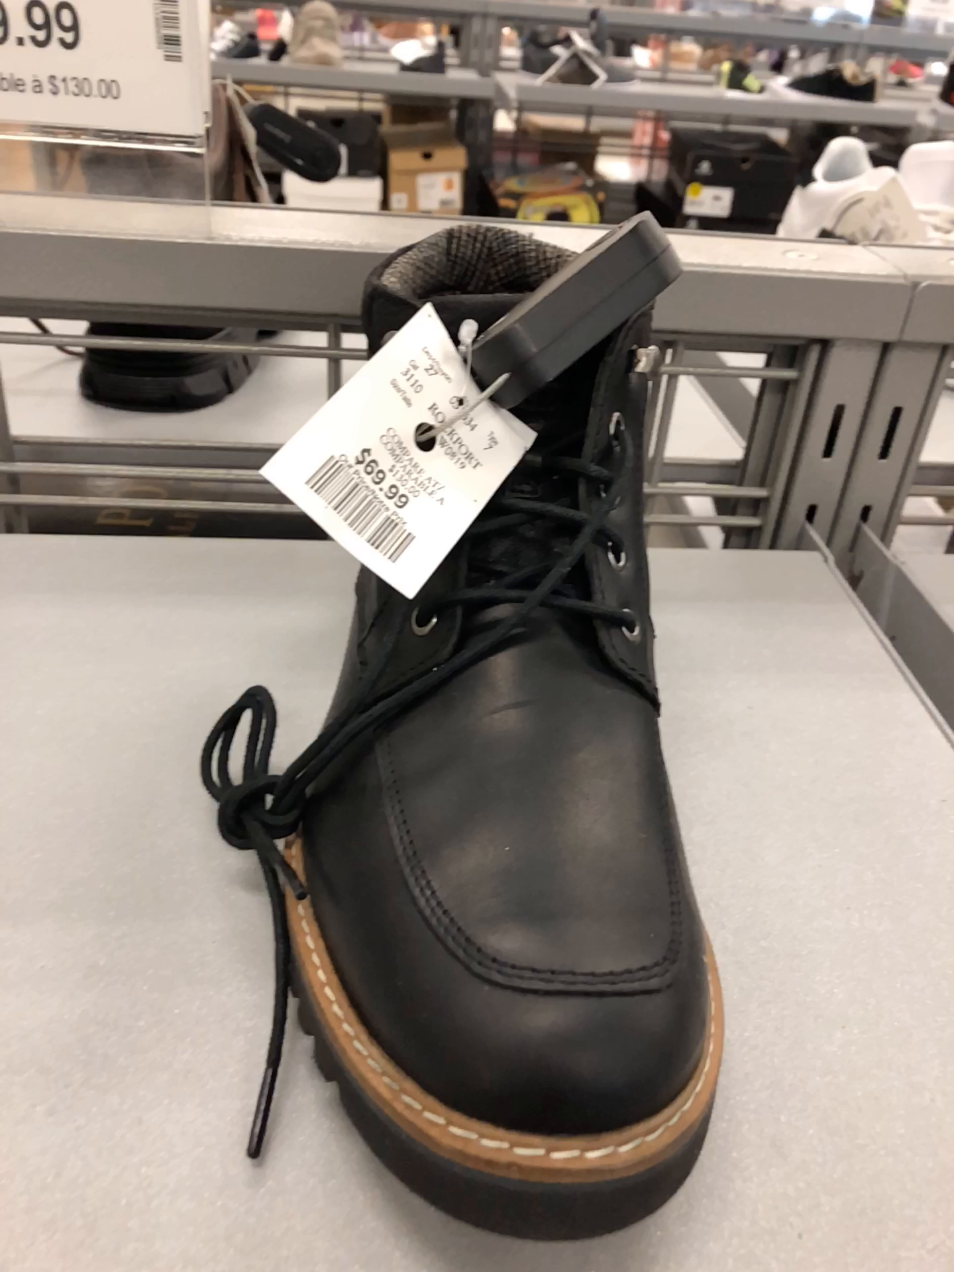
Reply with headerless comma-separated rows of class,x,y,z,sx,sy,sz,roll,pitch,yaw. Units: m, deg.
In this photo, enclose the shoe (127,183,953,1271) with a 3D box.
shoe,-0.006,-0.011,0.293,0.120,0.139,0.282,0,37,-8
